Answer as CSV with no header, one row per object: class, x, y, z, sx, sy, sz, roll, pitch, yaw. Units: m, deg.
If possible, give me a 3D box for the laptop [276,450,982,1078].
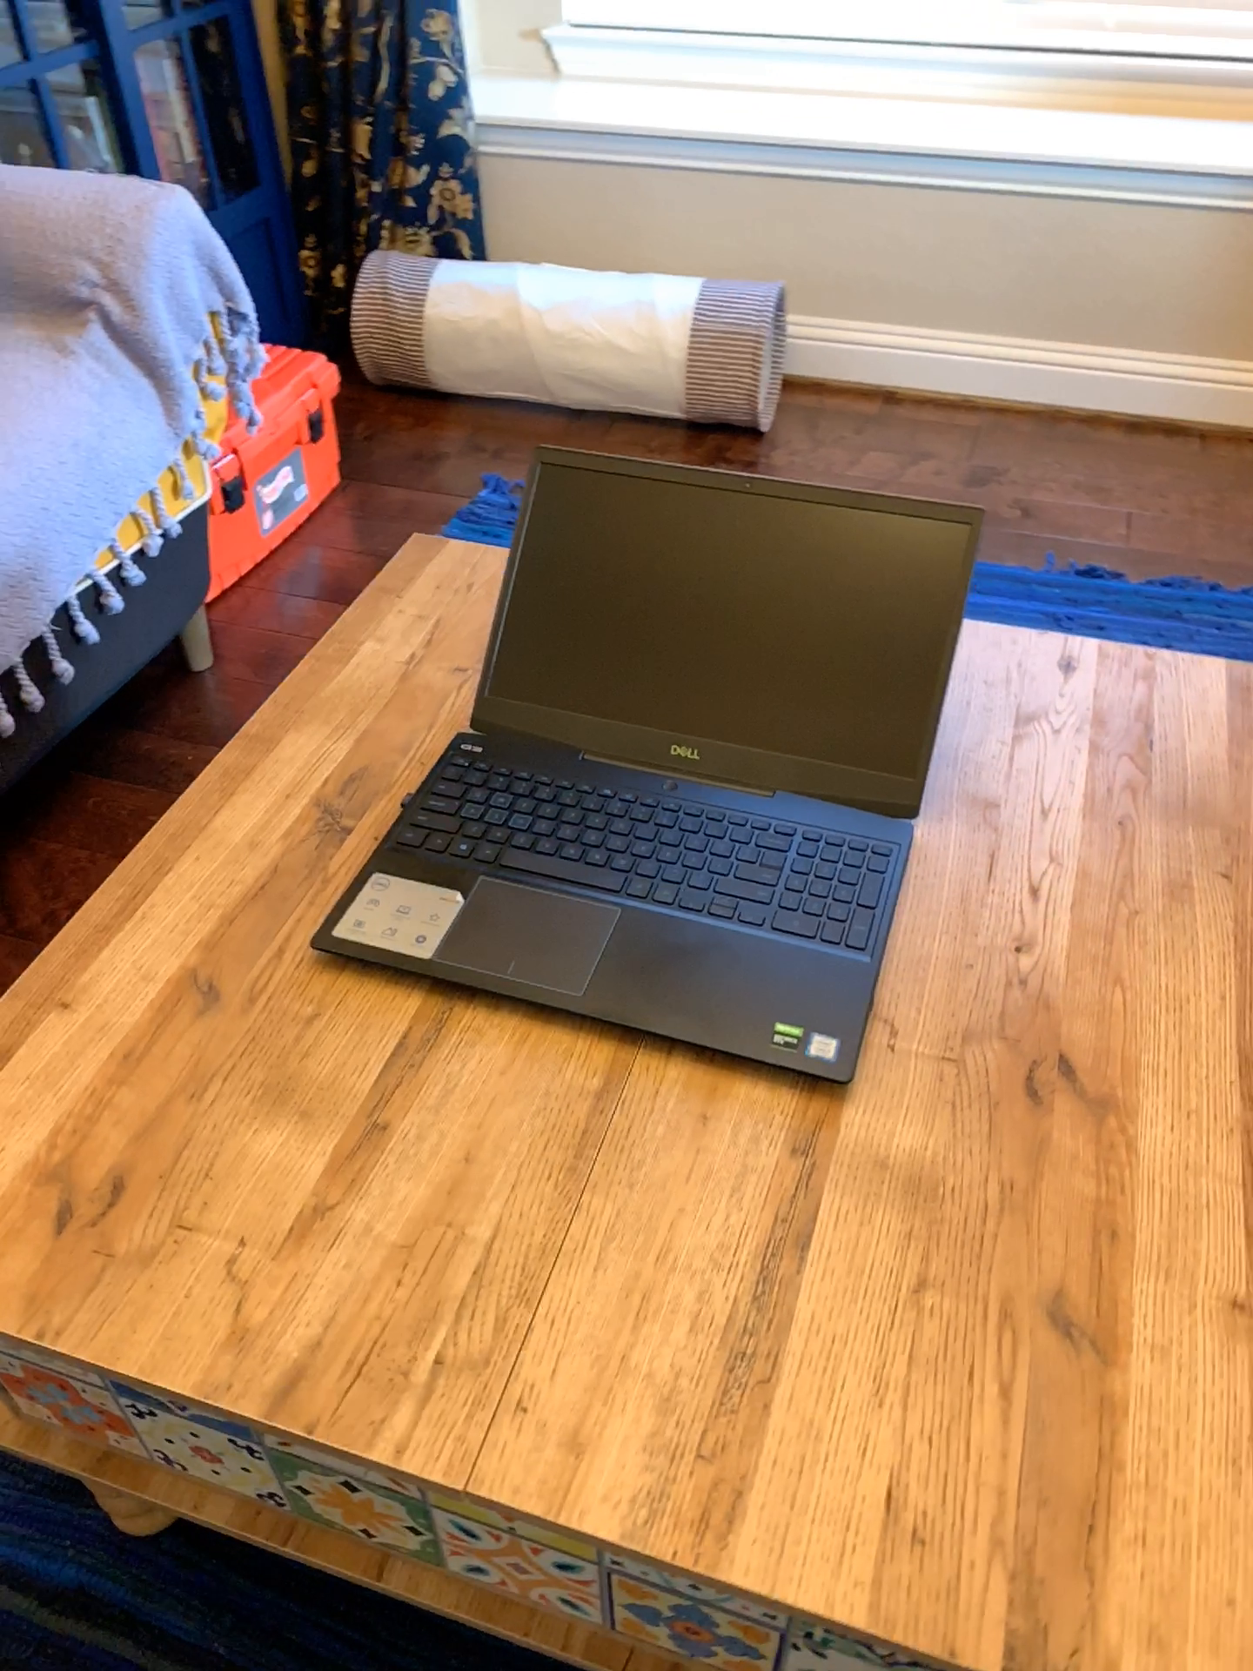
laptop,0.031,-0.084,0.892,0.346,0.156,0.419,12,44,15
